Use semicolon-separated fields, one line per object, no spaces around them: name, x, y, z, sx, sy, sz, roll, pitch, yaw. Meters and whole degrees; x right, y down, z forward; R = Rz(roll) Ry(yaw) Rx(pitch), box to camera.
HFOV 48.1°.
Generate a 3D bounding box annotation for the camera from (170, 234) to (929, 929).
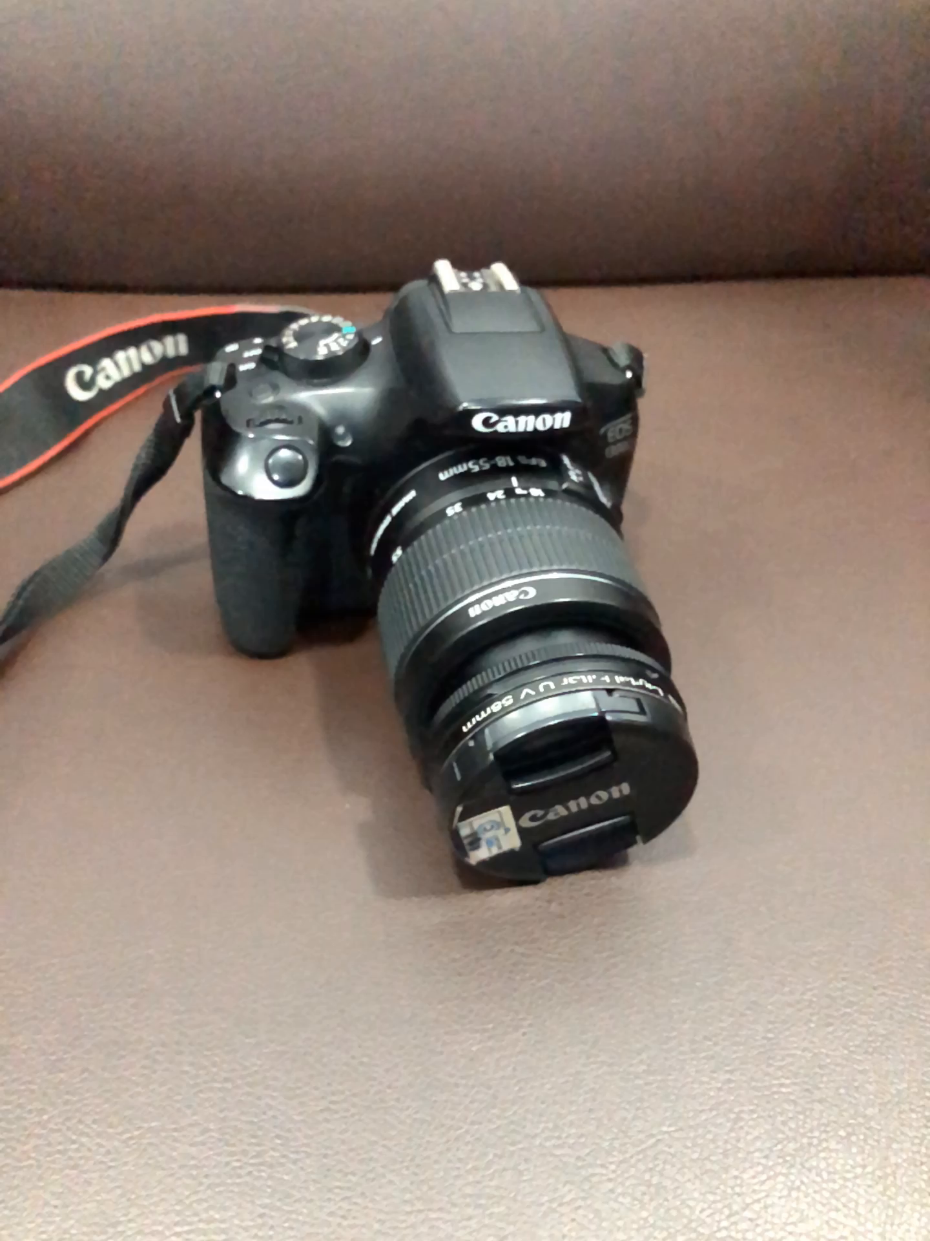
camera;0.002;-0.021;0.252;0.130;0.089;0.141;-4;43;-11
